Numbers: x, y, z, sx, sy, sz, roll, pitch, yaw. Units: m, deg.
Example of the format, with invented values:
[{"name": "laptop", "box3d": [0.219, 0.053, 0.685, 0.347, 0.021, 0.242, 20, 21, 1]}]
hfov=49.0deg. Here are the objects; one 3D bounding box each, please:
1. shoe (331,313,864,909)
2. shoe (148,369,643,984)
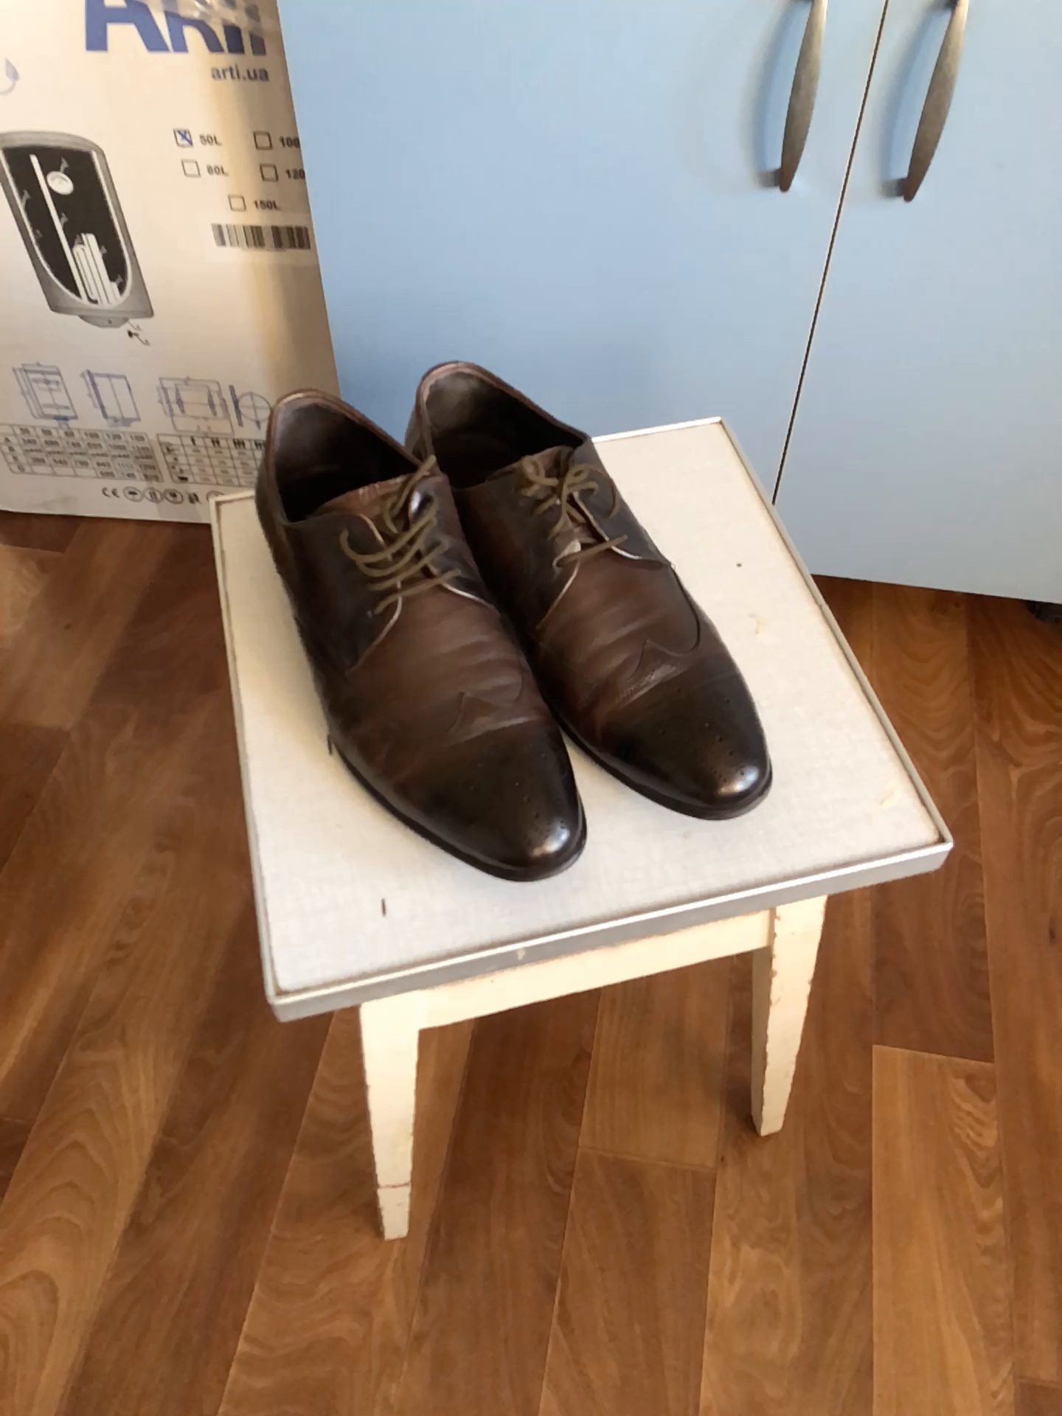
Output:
[{"name": "shoe", "box3d": [0.016, -0.061, 0.570, 0.100, 0.099, 0.291, -26, 57, -19]}, {"name": "shoe", "box3d": [-0.074, -0.029, 0.562, 0.100, 0.099, 0.291, -26, 57, -19]}]
